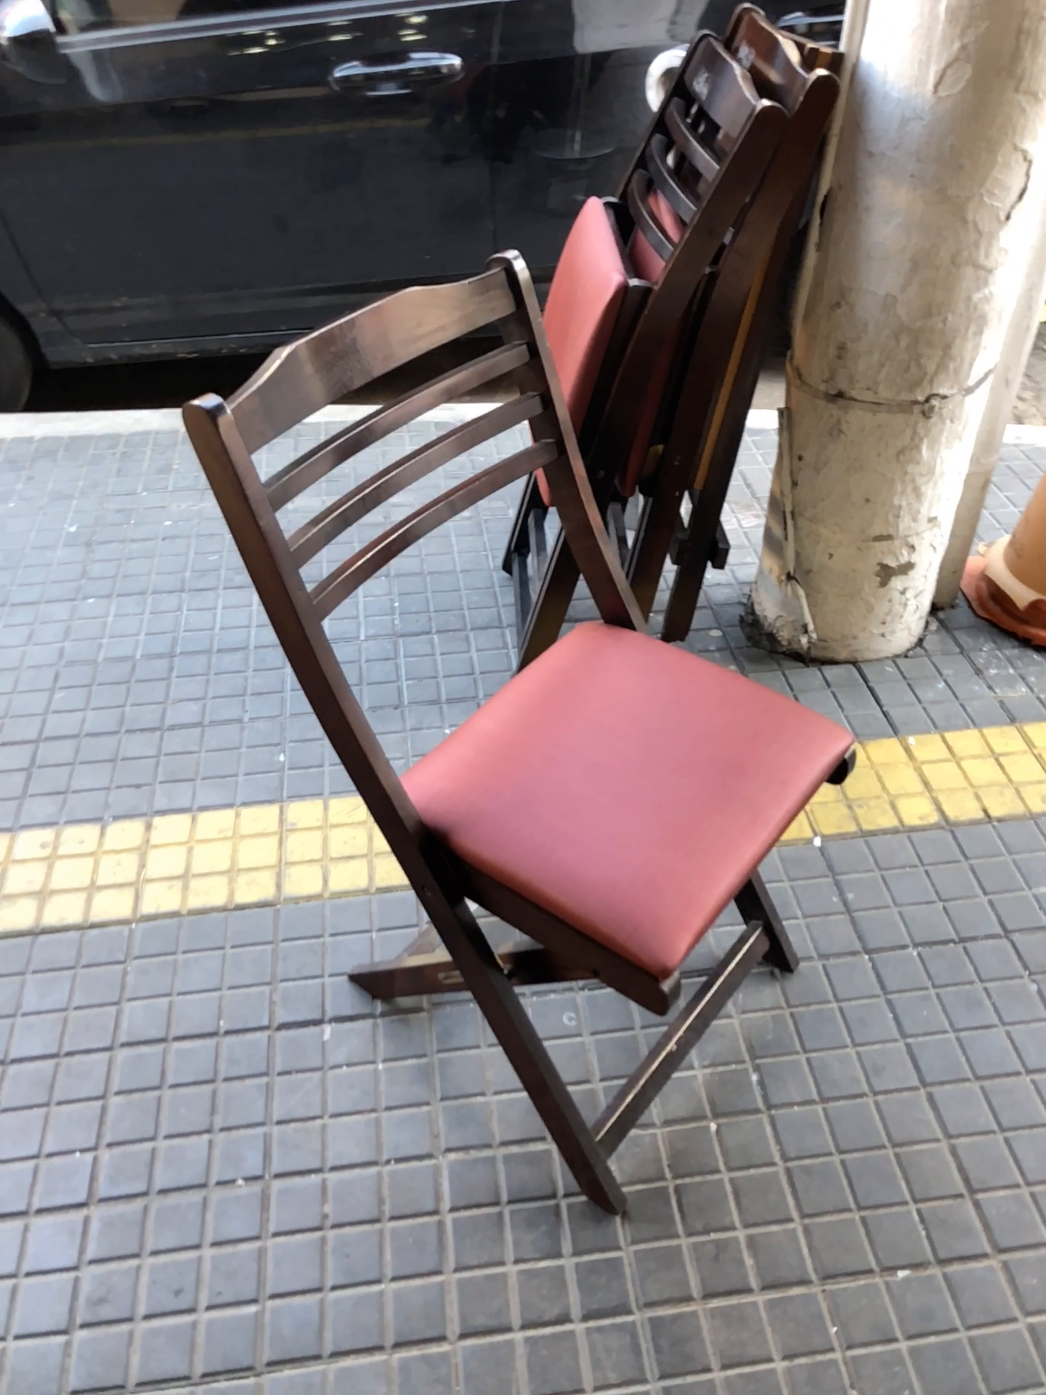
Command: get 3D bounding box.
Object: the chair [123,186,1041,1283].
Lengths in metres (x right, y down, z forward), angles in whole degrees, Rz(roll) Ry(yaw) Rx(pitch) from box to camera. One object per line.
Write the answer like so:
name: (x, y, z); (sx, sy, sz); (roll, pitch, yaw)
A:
chair: (0.060, 0.050, 1.136); (0.481, 0.844, 0.513); (27, 49, 27)
